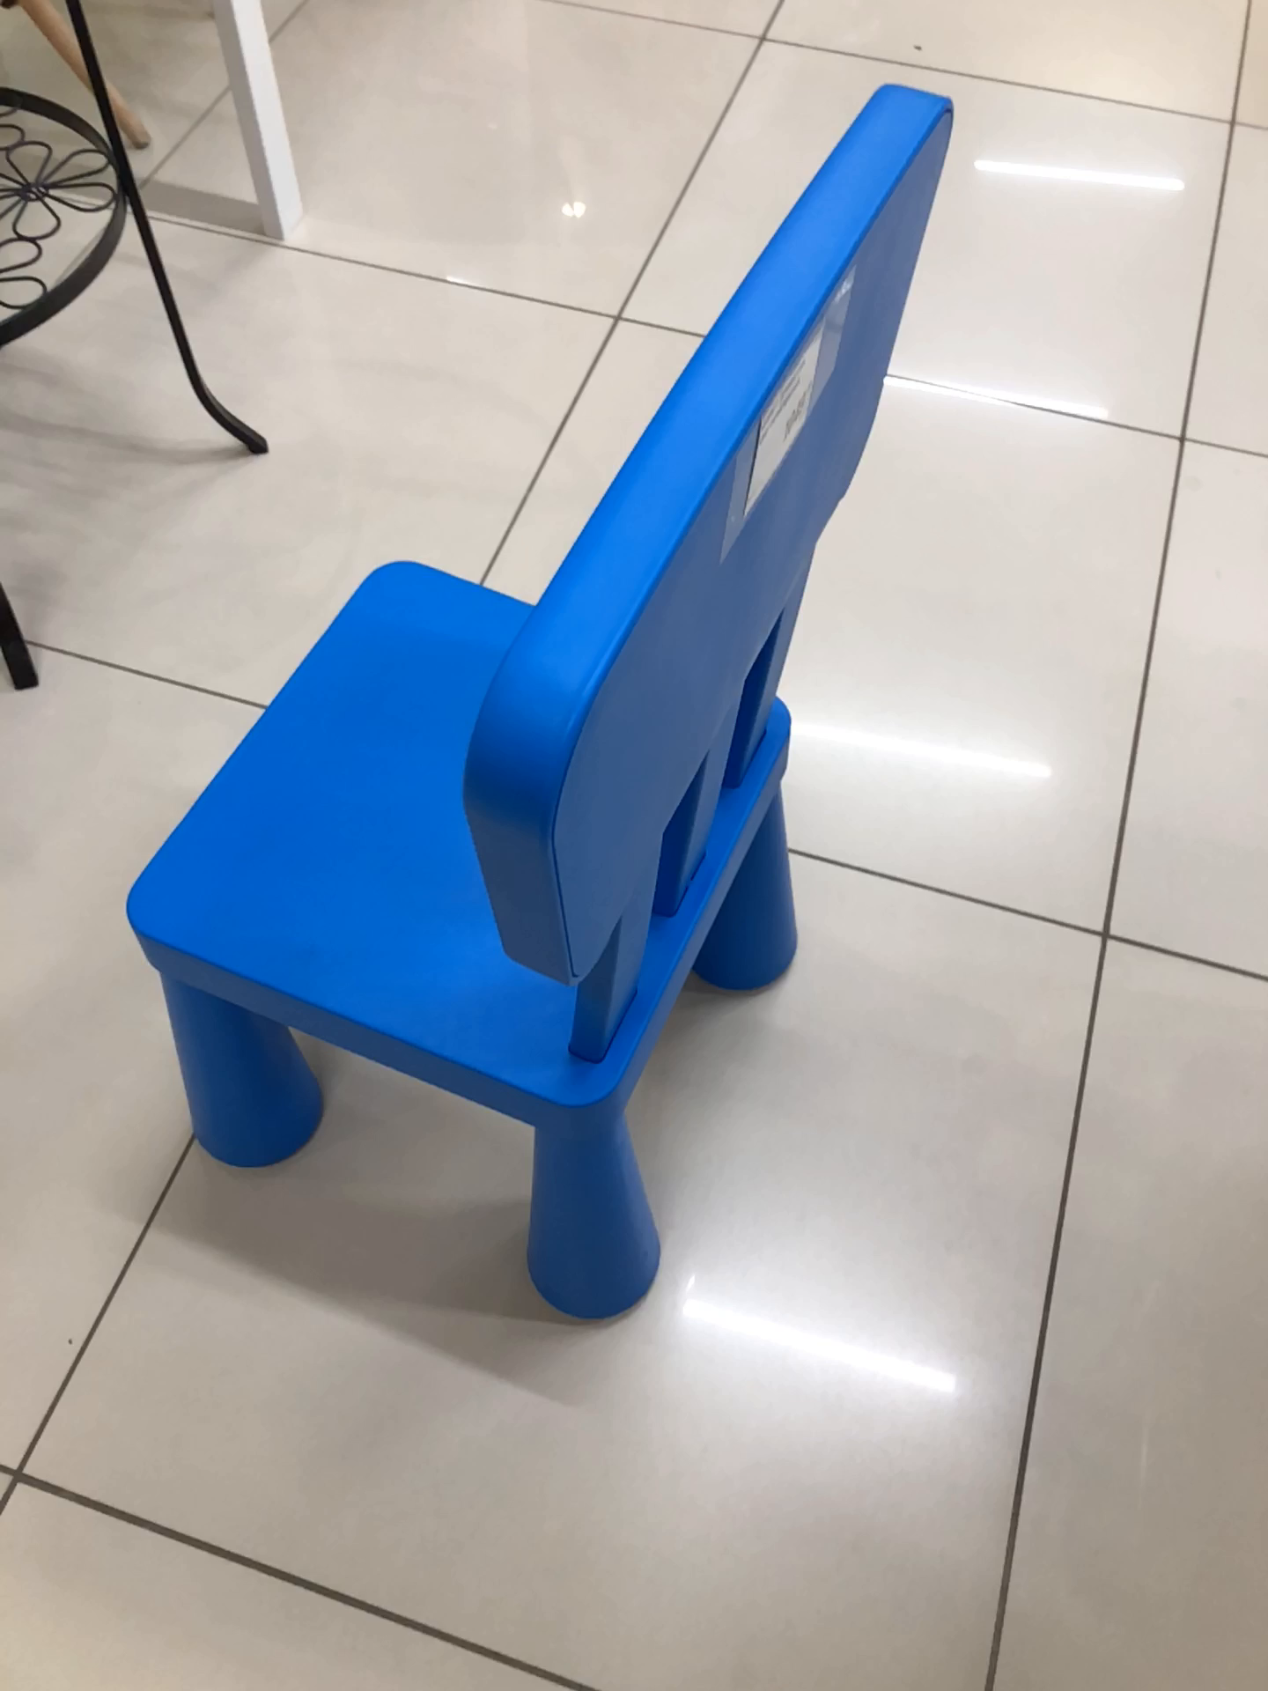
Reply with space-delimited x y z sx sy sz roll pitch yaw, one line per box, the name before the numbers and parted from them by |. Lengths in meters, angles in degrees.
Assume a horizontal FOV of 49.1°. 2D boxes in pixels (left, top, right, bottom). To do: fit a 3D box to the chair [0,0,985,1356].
chair | -0.098 -0.038 0.779 0.355 0.667 0.357 21 59 13
